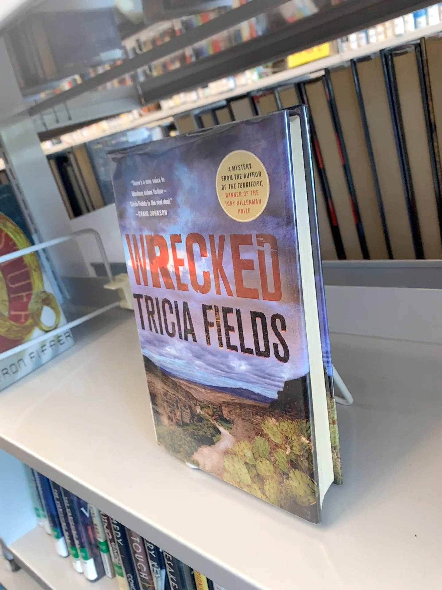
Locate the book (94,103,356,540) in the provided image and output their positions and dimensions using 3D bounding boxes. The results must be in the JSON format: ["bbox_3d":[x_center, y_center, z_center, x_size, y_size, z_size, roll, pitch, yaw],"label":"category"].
[{"bbox_3d":[-0.003,0.014,0.279,0.034,0.214,0.151,-20,18,-42],"label":"book"}]
